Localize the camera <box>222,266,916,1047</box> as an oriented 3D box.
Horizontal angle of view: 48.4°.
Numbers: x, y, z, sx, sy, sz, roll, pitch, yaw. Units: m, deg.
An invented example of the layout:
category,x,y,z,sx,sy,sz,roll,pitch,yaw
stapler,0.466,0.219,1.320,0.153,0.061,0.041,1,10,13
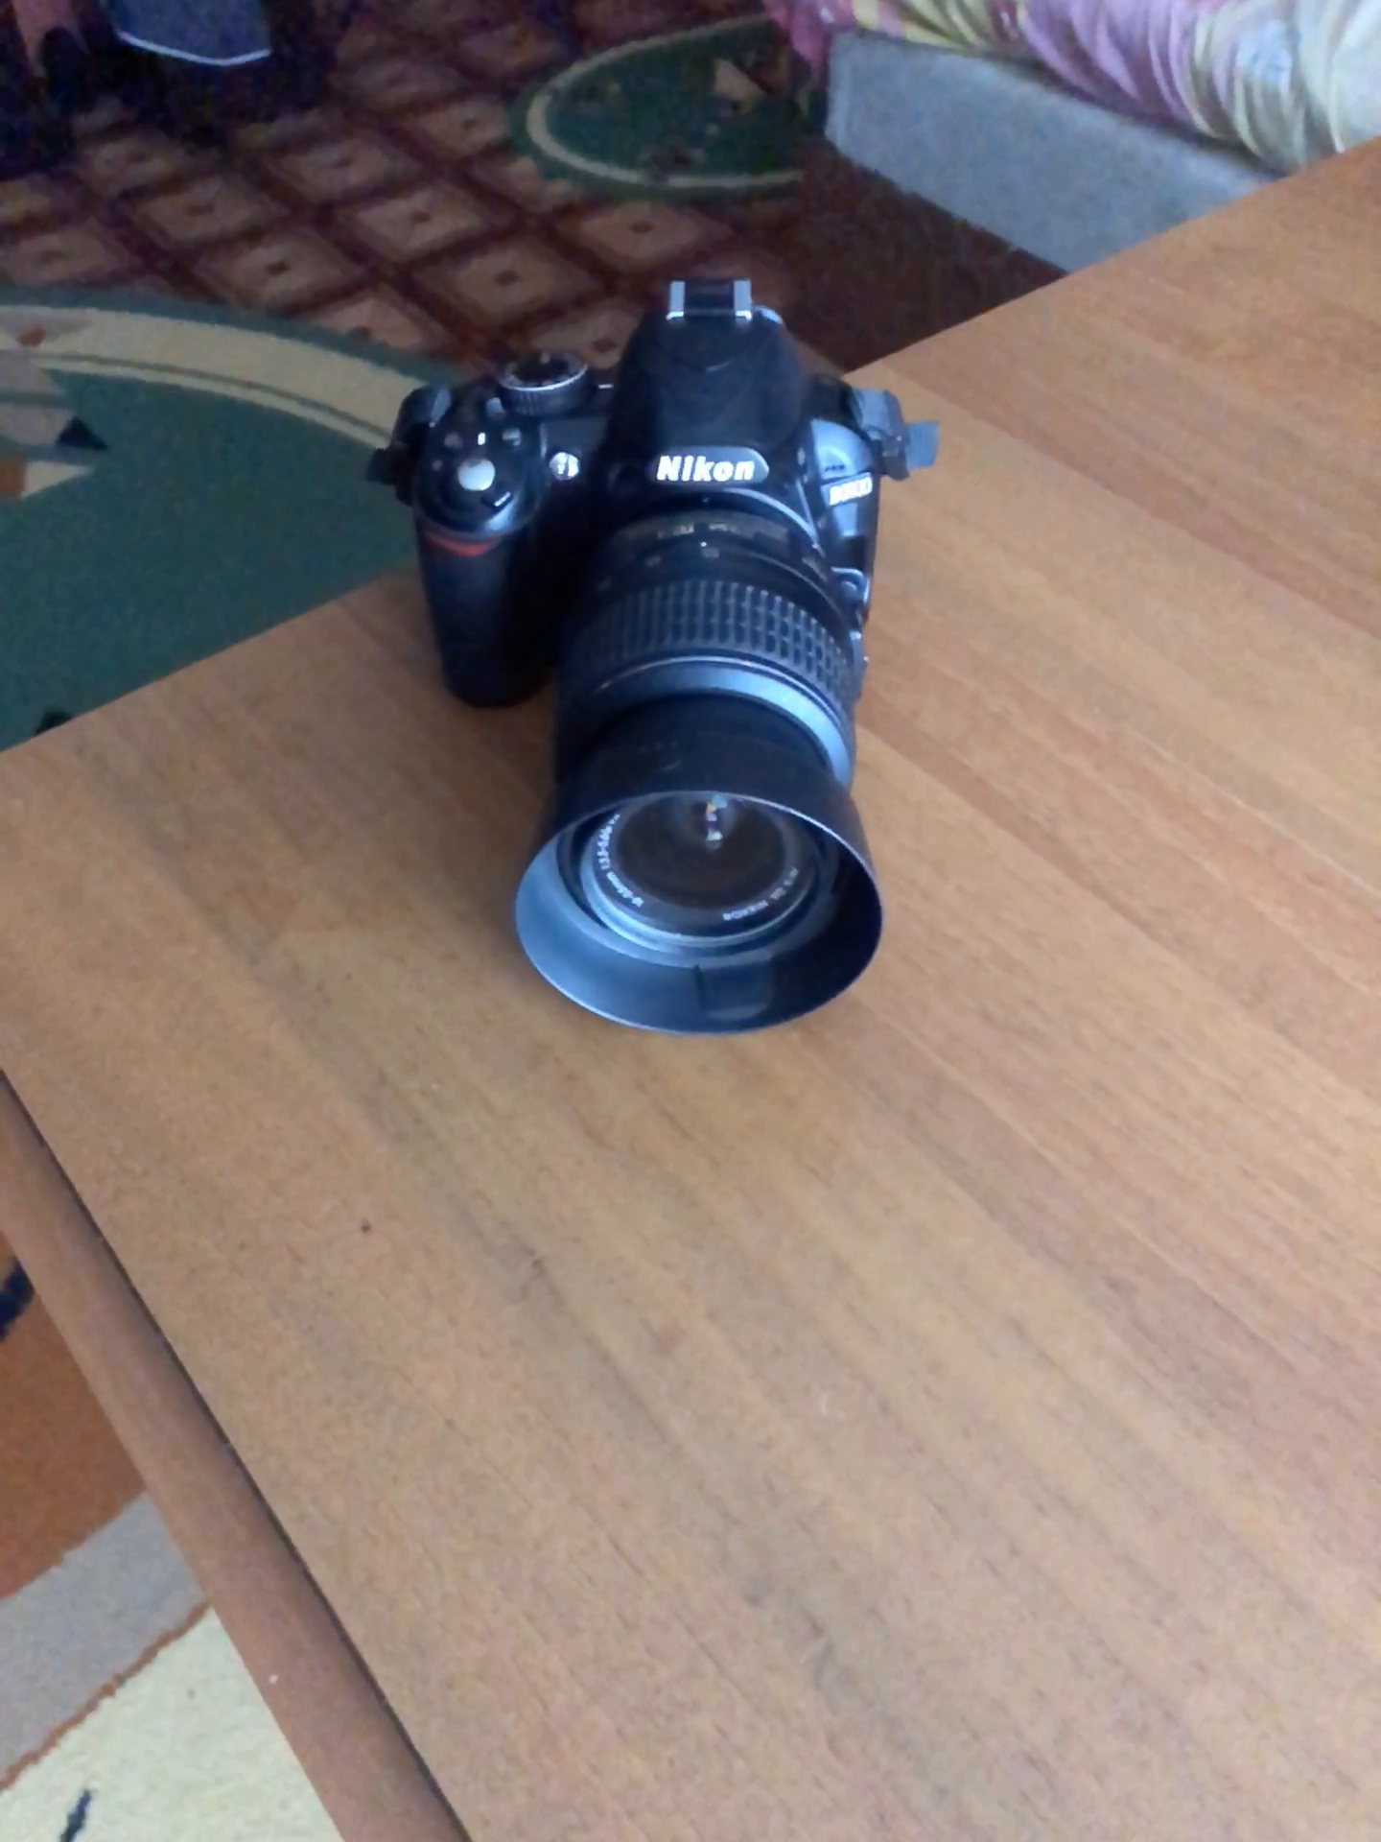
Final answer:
category,x,y,z,sx,sy,sz,roll,pitch,yaw
camera,-0.017,-0.073,0.378,0.129,0.092,0.184,2,48,3
